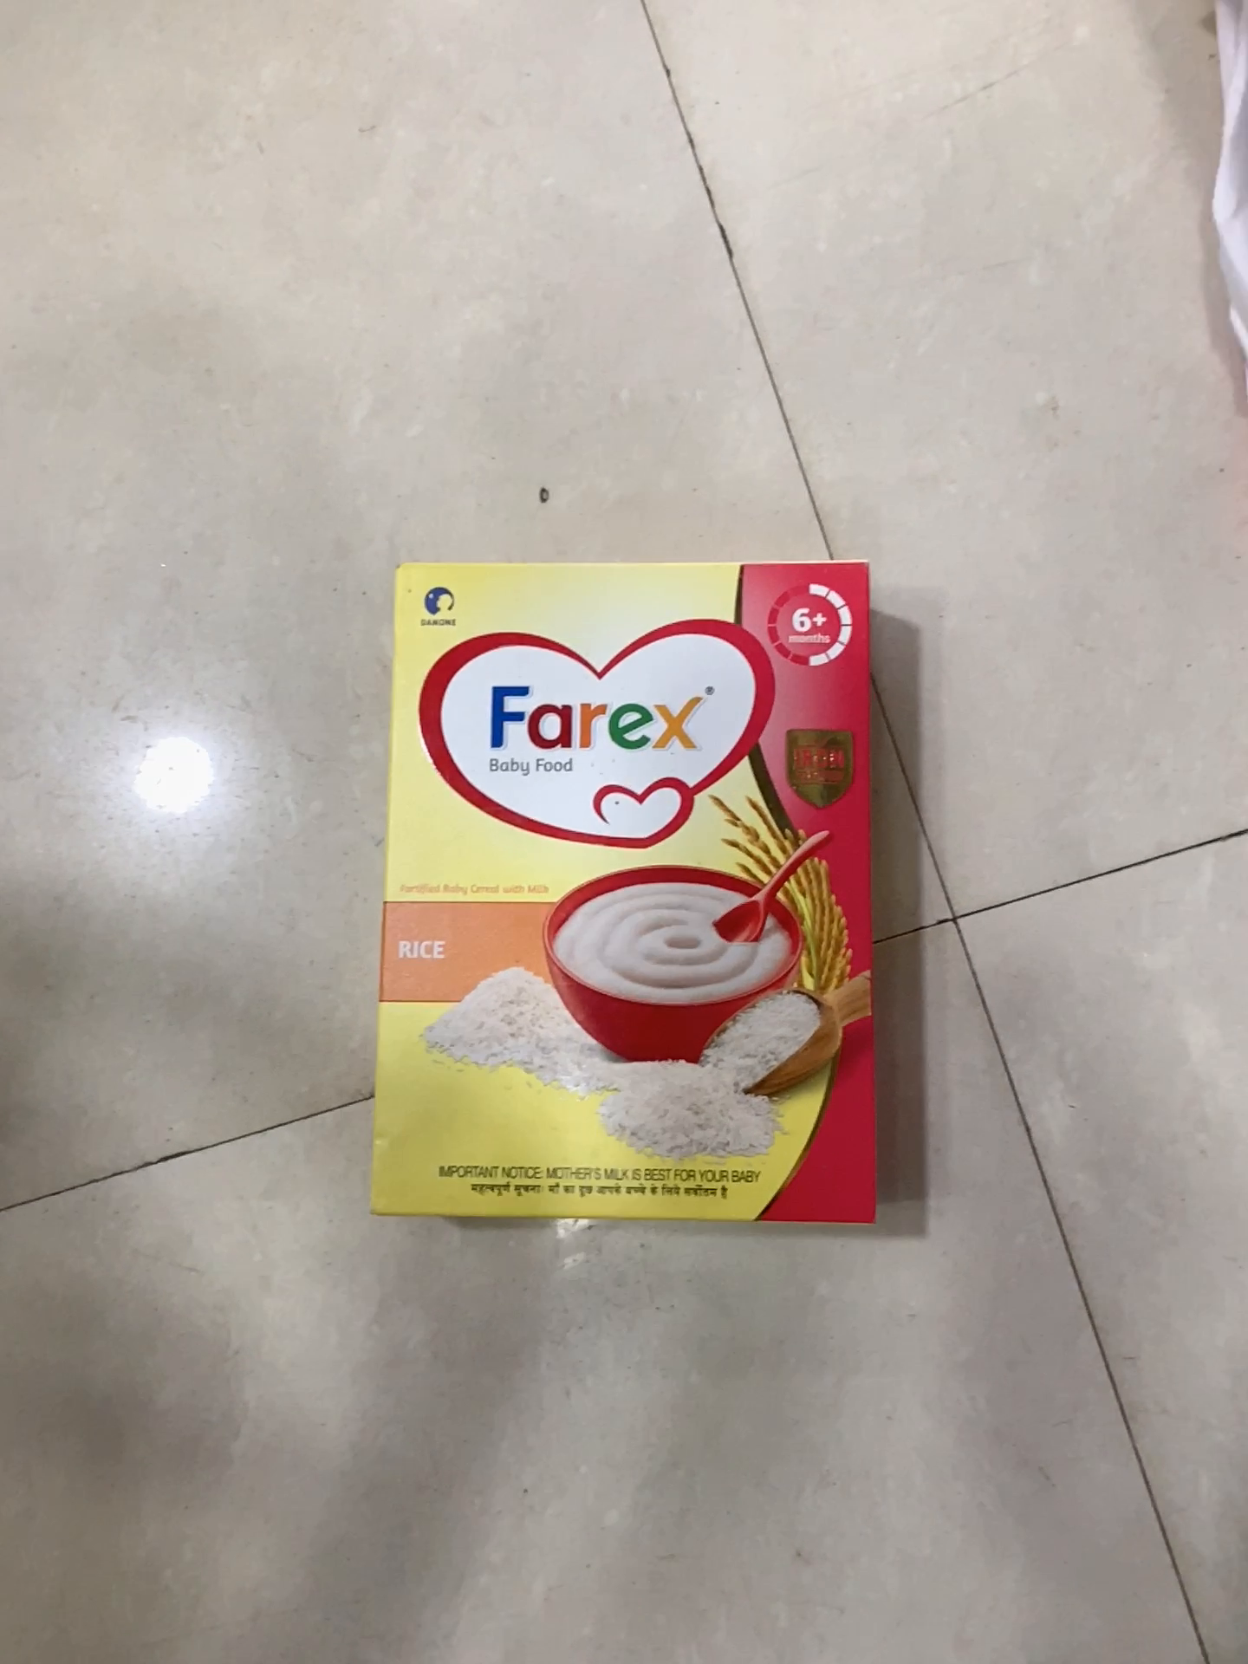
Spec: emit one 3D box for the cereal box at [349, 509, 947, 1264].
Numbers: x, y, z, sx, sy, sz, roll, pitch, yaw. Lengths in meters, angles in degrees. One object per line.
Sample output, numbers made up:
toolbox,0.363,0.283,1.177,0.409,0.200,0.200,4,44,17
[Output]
cereal box,0.008,0.015,0.387,0.160,0.060,0.210,0,82,3
